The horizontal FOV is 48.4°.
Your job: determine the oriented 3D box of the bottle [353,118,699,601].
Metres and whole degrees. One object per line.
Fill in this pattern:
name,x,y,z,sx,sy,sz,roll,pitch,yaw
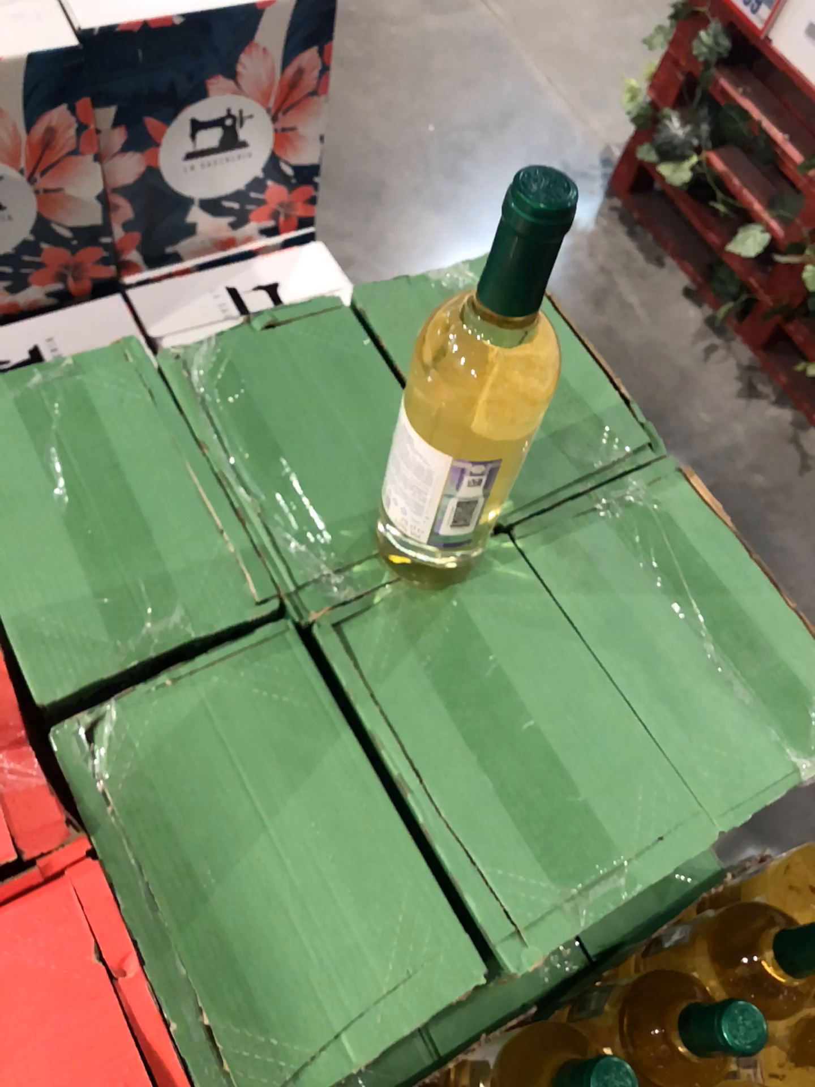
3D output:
bottle,0.041,-0.075,0.479,0.084,0.262,0.080,5,61,-8
